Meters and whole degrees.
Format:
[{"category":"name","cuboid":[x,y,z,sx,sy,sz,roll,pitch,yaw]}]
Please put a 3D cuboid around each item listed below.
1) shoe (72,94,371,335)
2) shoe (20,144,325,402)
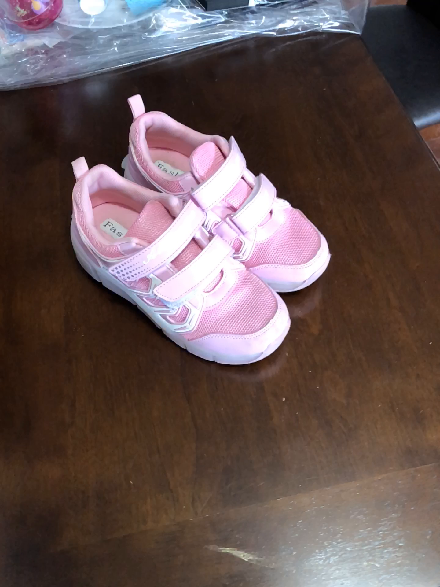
[{"category":"shoe","cuboid":[-0.002,-0.085,0.499,0.260,0.110,0.110,28,65,19]},{"category":"shoe","cuboid":[-0.044,-0.023,0.459,0.250,0.110,0.100,29,66,20]}]
